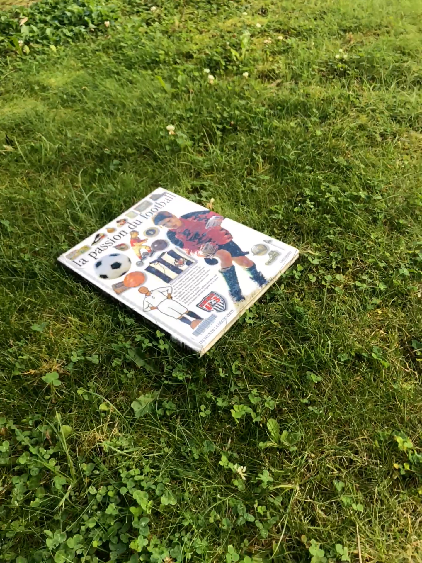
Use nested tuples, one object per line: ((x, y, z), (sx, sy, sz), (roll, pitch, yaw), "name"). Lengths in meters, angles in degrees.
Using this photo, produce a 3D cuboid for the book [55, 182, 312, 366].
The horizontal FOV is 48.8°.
((-0.044, -0.036, 0.685), (0.300, 0.020, 0.231), (29, 55, 30), "book")
